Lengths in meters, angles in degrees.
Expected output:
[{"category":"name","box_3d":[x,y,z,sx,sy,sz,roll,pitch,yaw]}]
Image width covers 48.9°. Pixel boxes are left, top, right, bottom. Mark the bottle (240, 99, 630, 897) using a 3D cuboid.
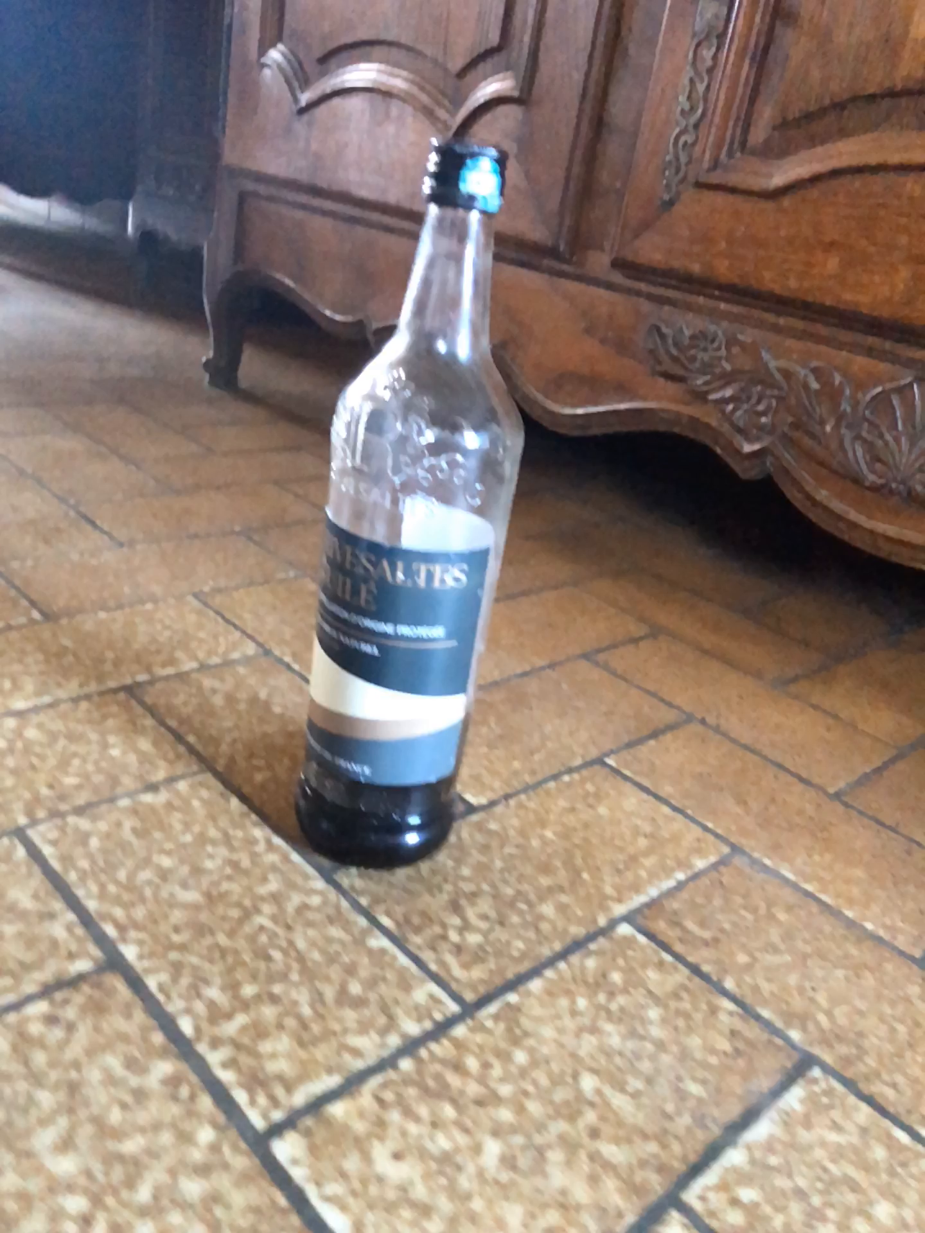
[{"category":"bottle","box_3d":[-0.019,-0.043,0.432,0.090,0.298,0.091,8,23,-4]}]
